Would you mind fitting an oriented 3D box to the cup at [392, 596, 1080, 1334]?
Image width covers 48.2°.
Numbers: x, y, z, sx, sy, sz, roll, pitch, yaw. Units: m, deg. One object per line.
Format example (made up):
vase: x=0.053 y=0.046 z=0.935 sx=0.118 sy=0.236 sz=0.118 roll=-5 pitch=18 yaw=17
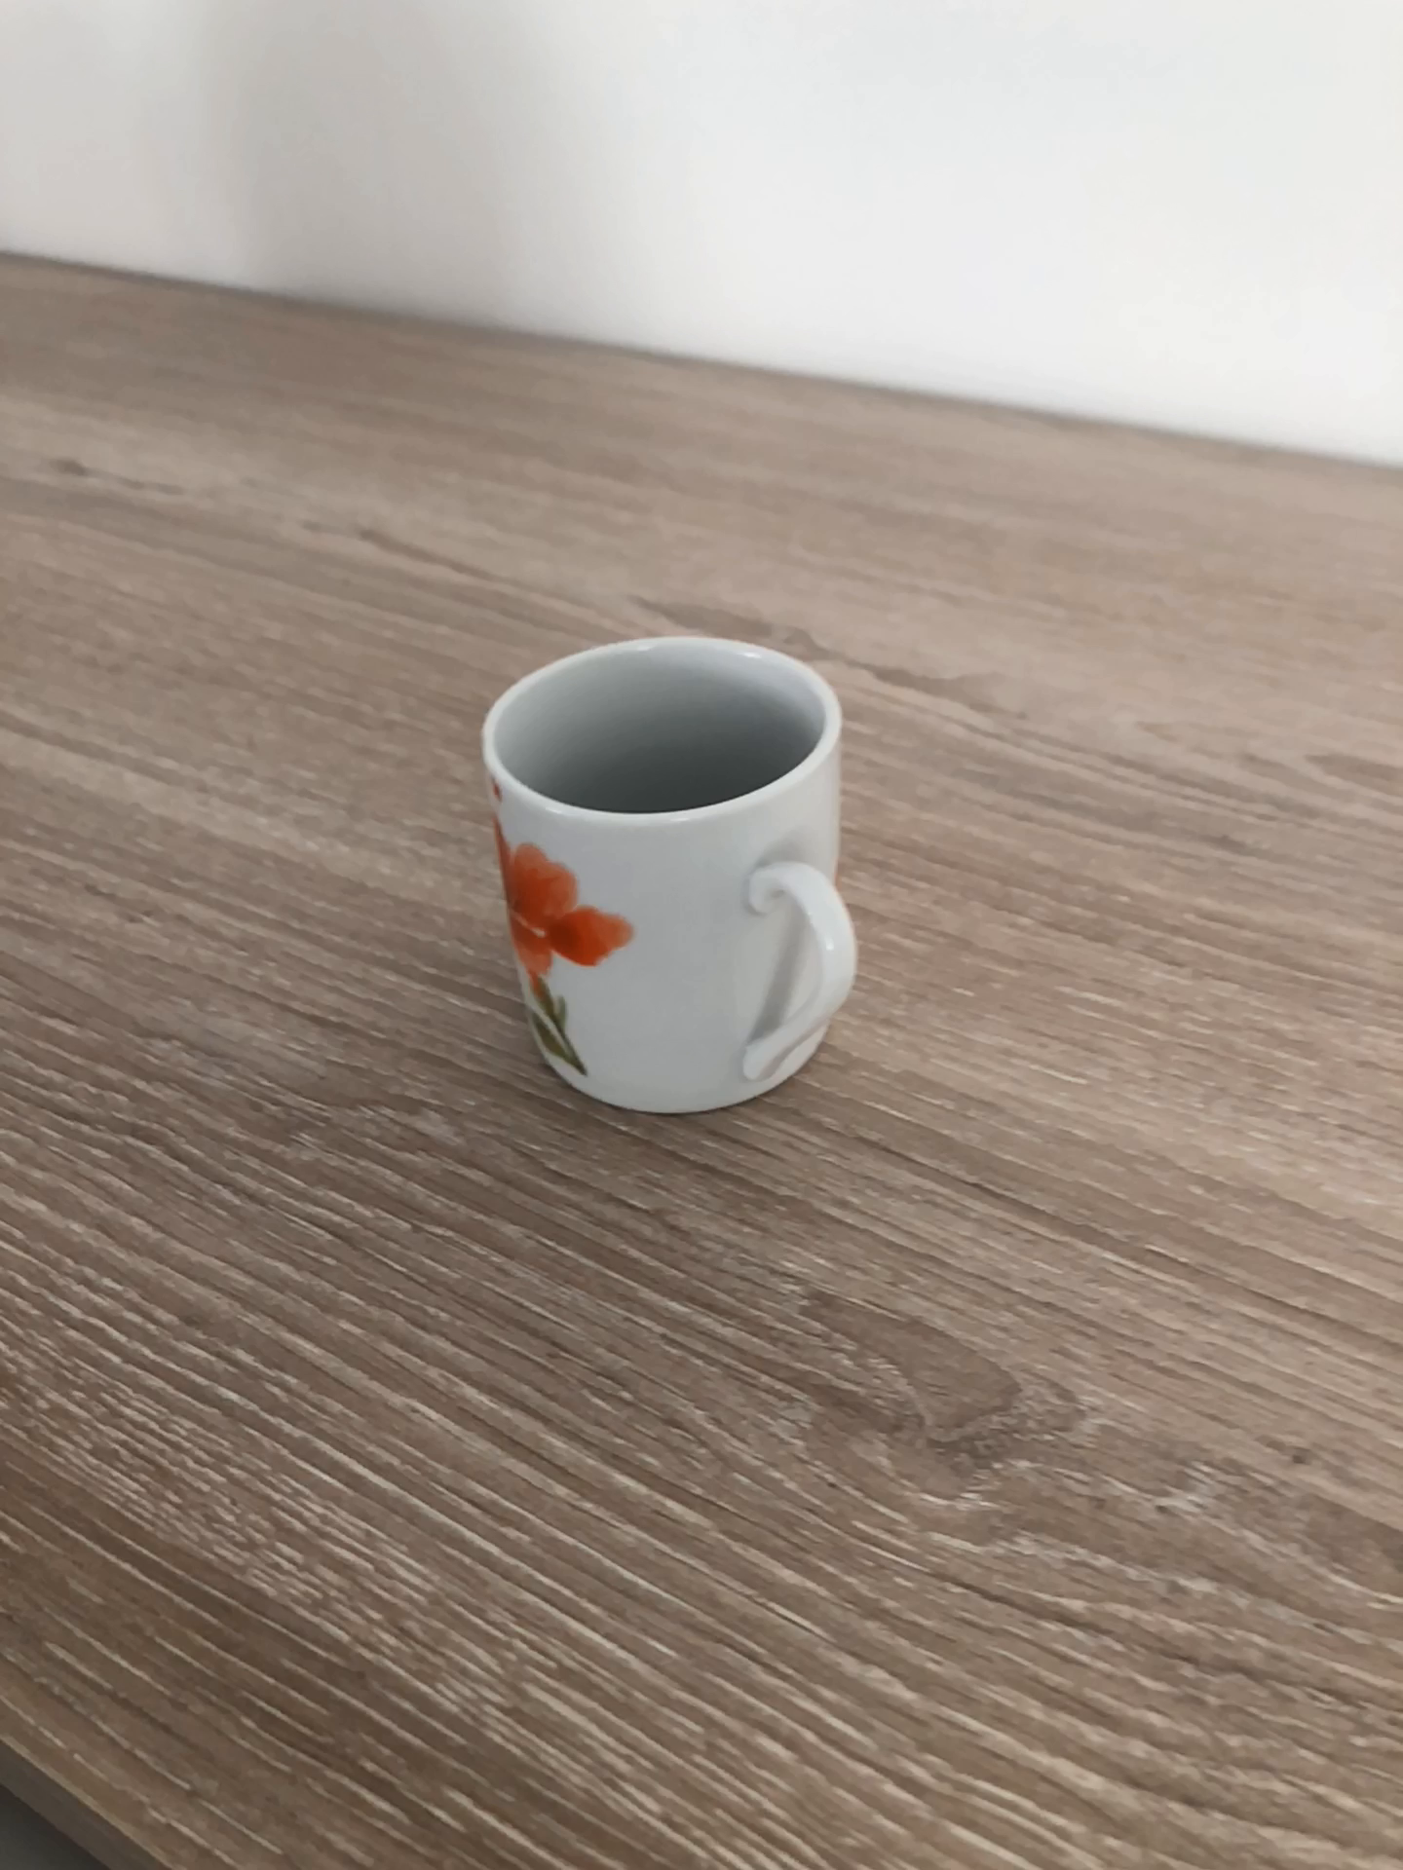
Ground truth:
cup: x=0.003 y=-0.001 z=0.232 sx=0.060 sy=0.060 sz=0.080 roll=-22 pitch=41 yaw=-24
